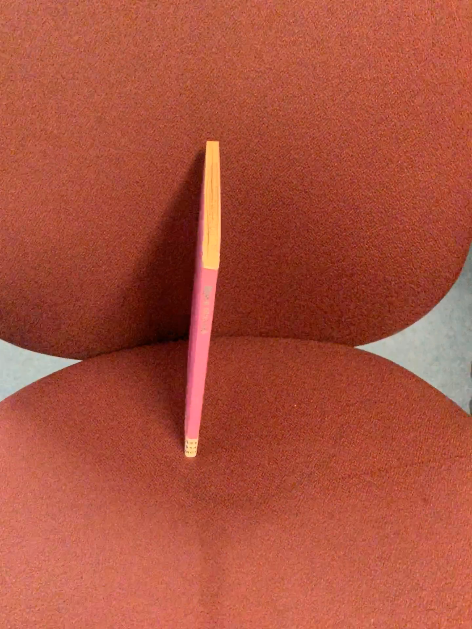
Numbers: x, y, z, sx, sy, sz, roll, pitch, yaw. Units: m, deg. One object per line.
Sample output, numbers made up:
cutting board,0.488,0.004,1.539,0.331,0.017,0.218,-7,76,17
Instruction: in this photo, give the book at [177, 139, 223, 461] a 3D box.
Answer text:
book,-0.028,-0.005,0.355,0.017,0.189,0.142,3,44,-6
